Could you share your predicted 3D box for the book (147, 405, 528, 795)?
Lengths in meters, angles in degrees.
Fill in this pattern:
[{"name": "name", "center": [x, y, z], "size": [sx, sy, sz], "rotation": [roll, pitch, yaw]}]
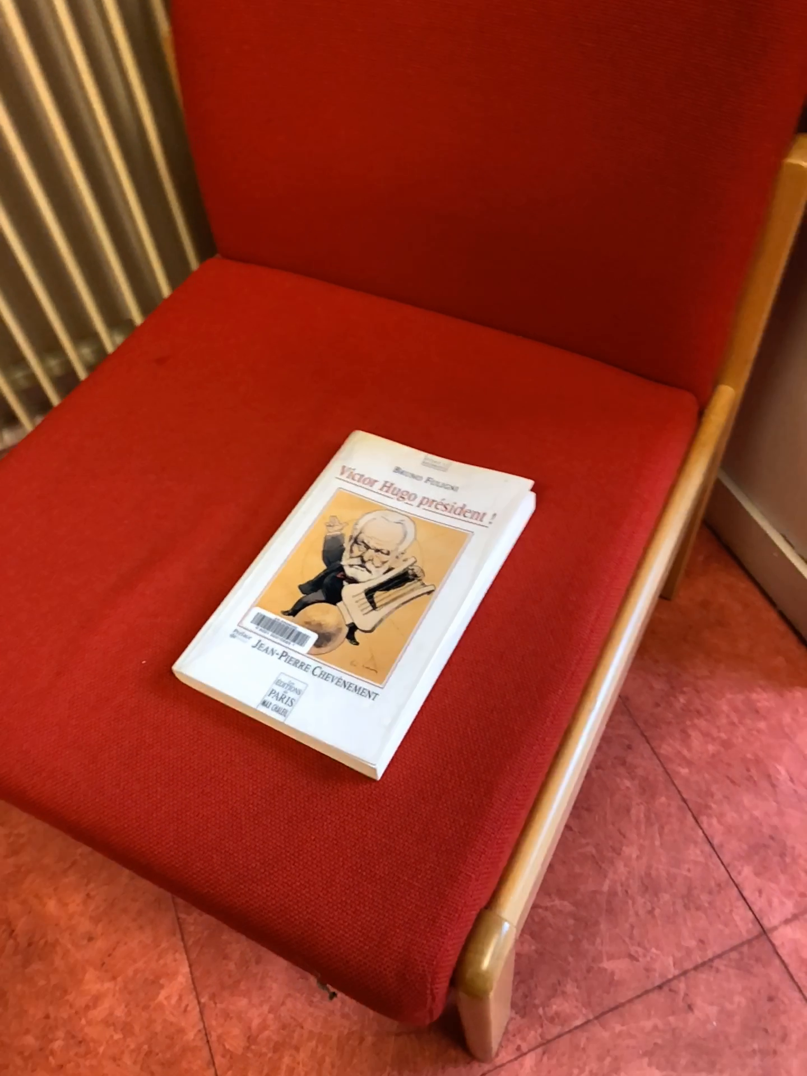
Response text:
[{"name": "book", "center": [-0.034, 0.027, 0.592], "size": [0.151, 0.040, 0.237], "rotation": [21, 59, 19]}]
